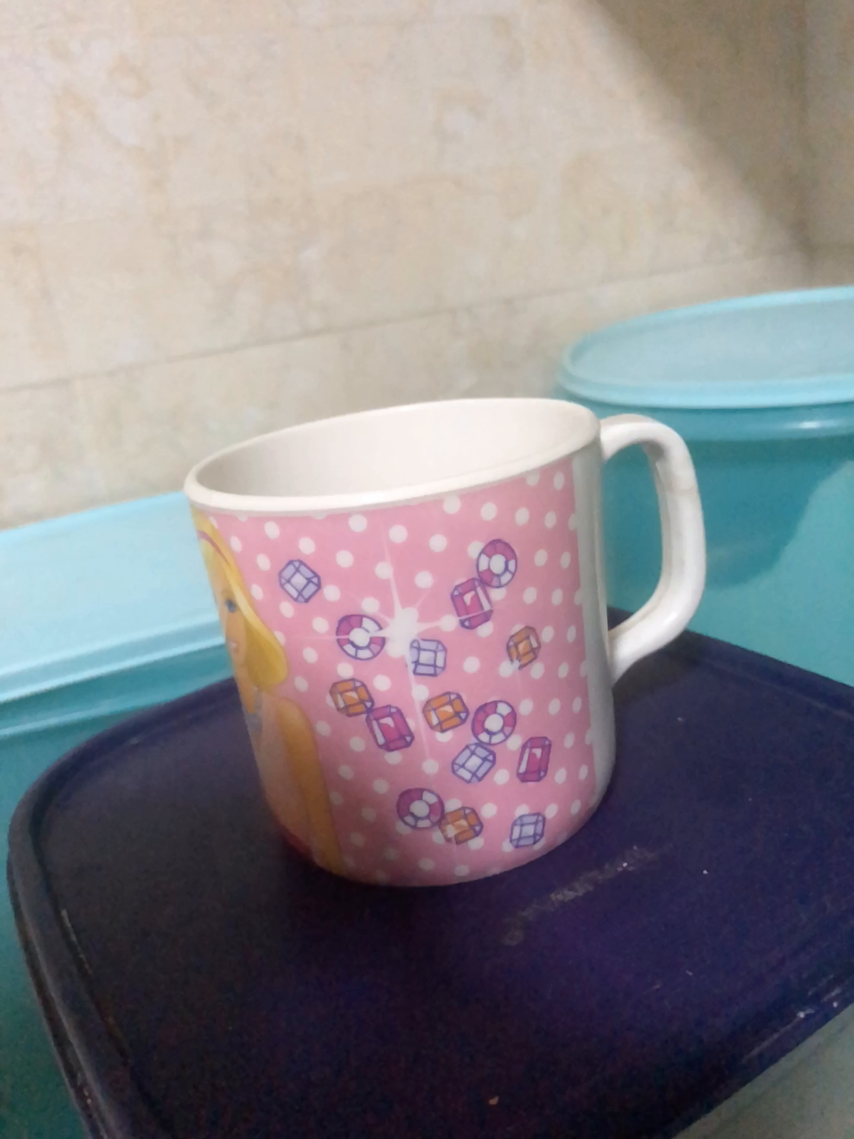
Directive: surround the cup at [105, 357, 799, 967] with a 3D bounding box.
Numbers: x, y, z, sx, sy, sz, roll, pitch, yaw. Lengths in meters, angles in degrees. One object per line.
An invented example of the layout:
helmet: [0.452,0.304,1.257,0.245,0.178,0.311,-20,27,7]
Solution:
cup: [0.007,0.005,0.213,0.120,0.080,0.080,-18,21,-25]
